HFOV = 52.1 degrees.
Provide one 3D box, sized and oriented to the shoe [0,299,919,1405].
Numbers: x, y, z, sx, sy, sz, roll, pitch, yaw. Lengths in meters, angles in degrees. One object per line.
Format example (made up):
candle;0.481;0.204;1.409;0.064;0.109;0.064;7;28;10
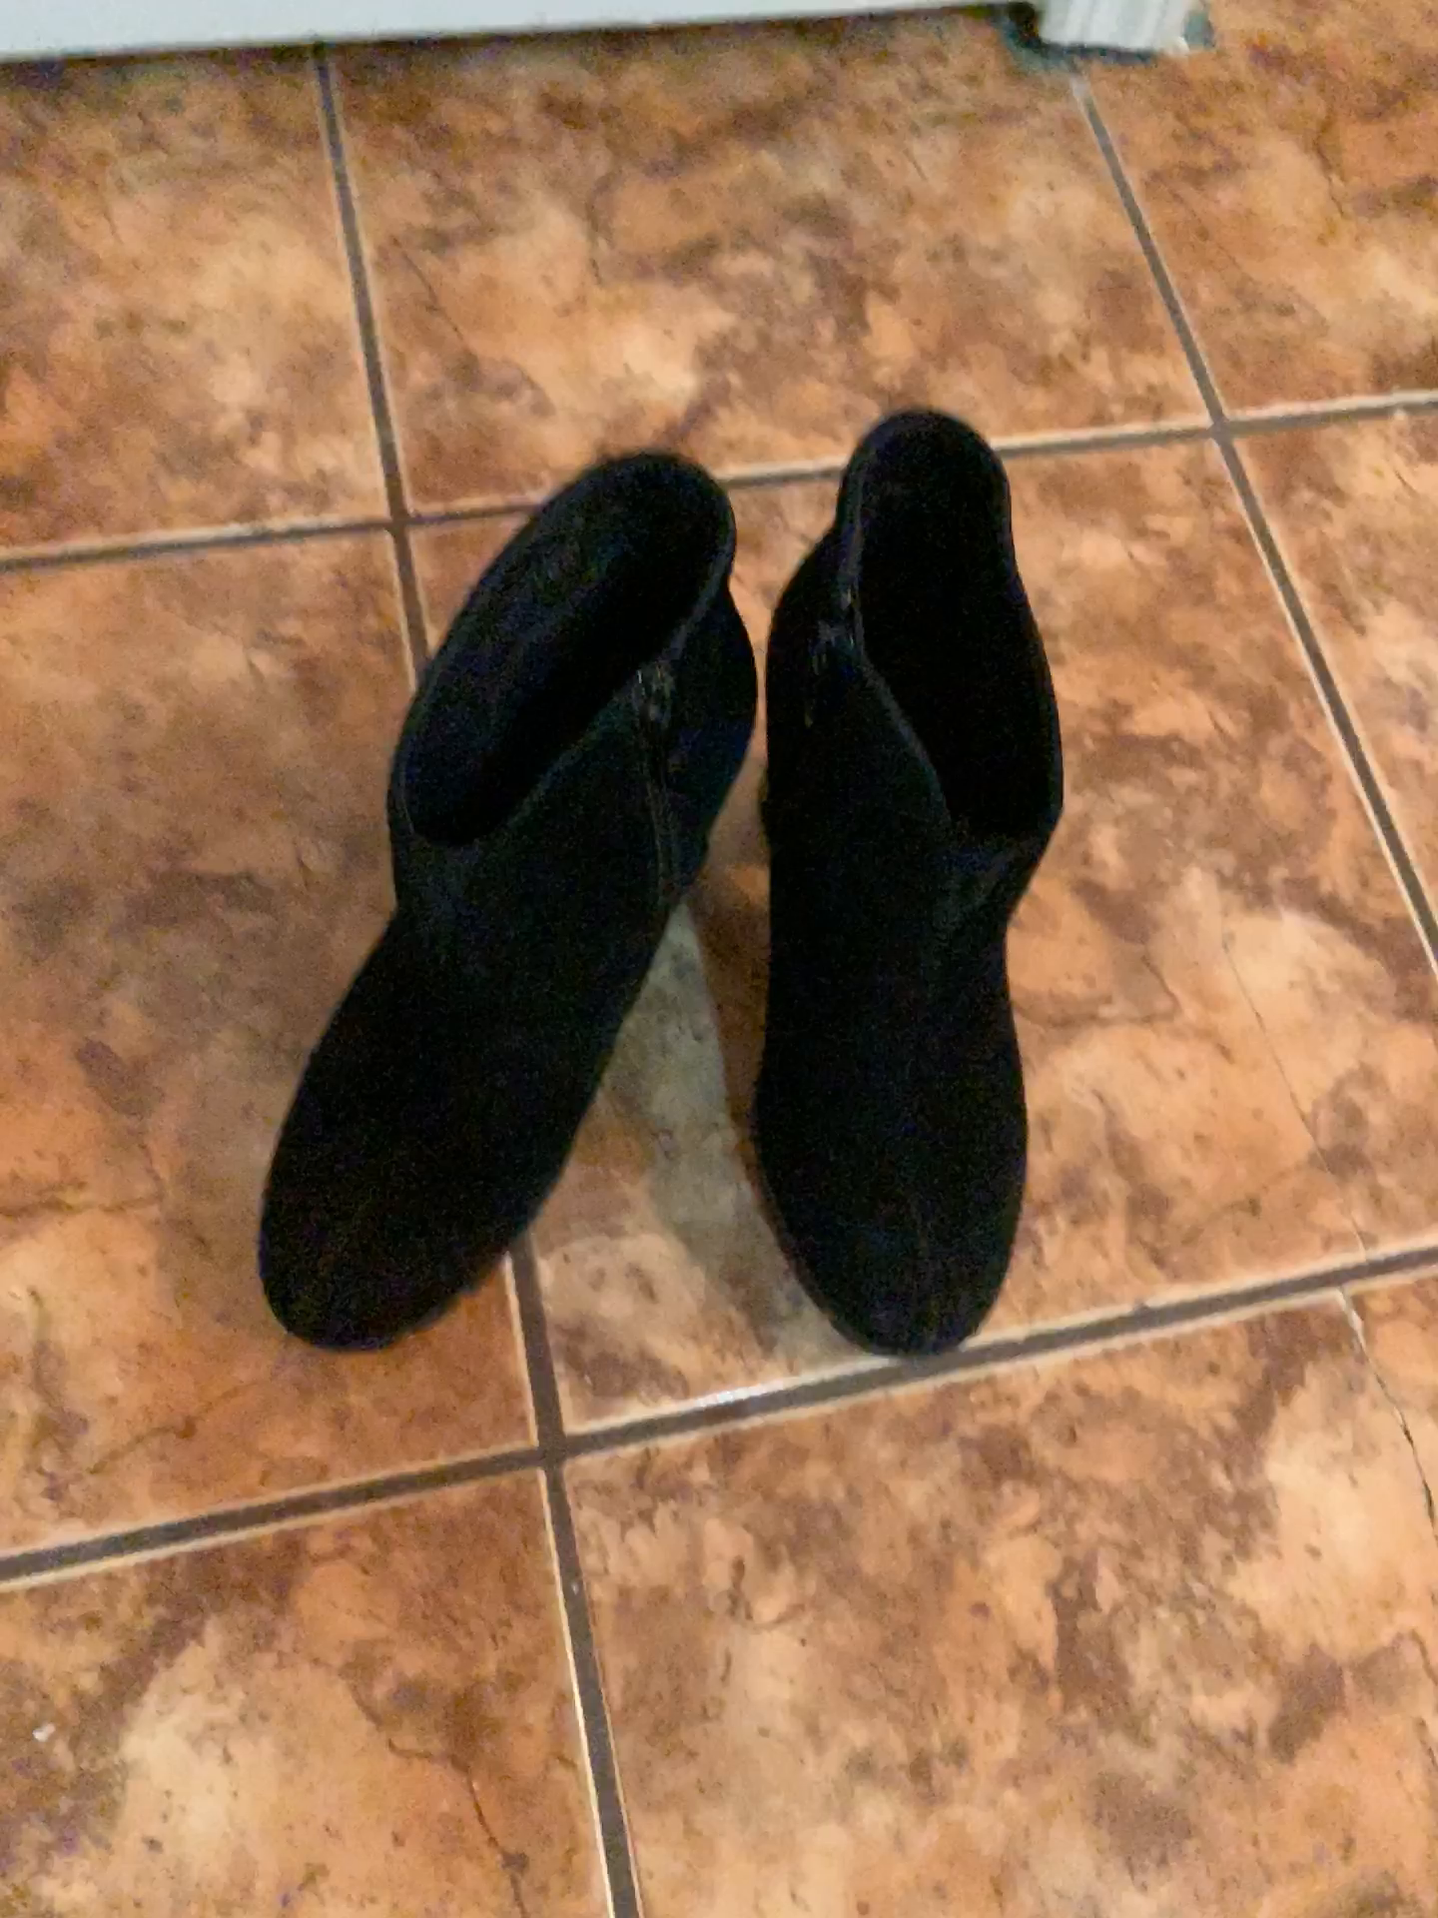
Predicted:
shoe;-0.054;-0.017;0.401;0.094;0.181;0.230;28;67;7

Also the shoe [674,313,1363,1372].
shoe;0.056;-0.021;0.412;0.094;0.181;0.230;-7;68;-8
